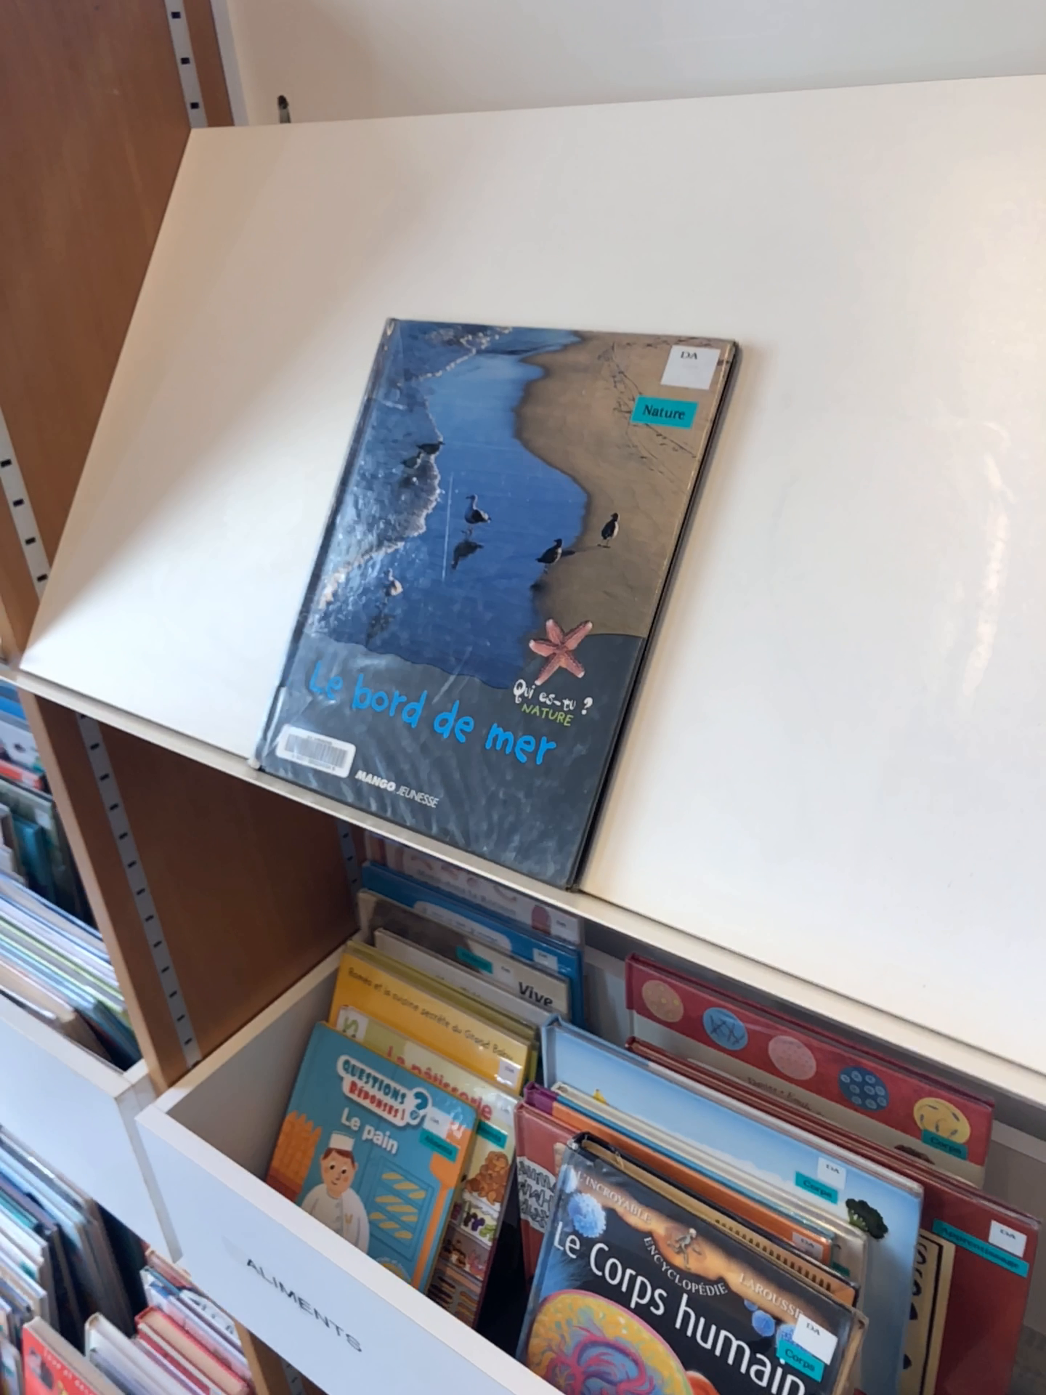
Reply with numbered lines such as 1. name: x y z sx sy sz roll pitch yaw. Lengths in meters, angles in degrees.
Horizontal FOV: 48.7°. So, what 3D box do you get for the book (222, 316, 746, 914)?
1. book: -0.029 -0.053 0.537 0.209 0.245 0.020 16 -2 35
